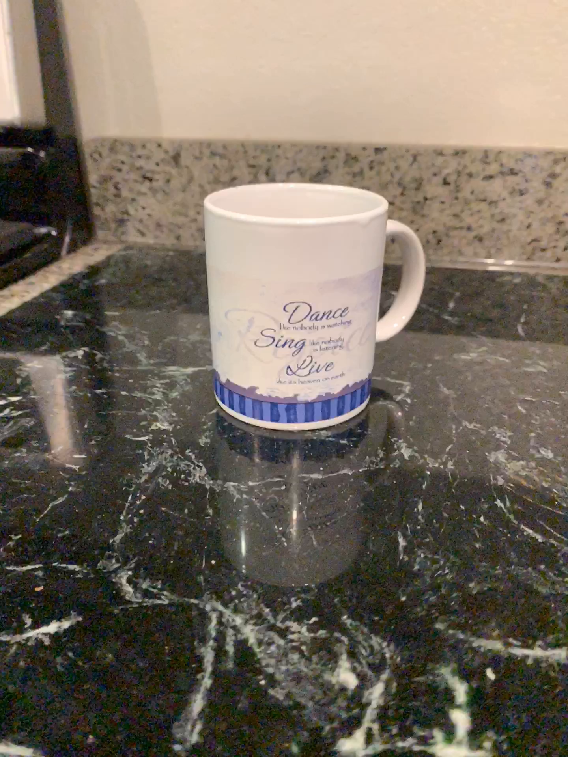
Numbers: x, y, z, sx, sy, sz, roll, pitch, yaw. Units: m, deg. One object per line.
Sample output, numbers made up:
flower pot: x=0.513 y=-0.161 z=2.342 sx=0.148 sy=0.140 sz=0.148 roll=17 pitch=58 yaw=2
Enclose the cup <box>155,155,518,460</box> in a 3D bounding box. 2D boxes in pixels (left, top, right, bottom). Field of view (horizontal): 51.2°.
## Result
cup: x=0.021 y=-0.045 z=0.281 sx=0.130 sy=0.099 sz=0.091 roll=-15 pitch=30 yaw=-27
